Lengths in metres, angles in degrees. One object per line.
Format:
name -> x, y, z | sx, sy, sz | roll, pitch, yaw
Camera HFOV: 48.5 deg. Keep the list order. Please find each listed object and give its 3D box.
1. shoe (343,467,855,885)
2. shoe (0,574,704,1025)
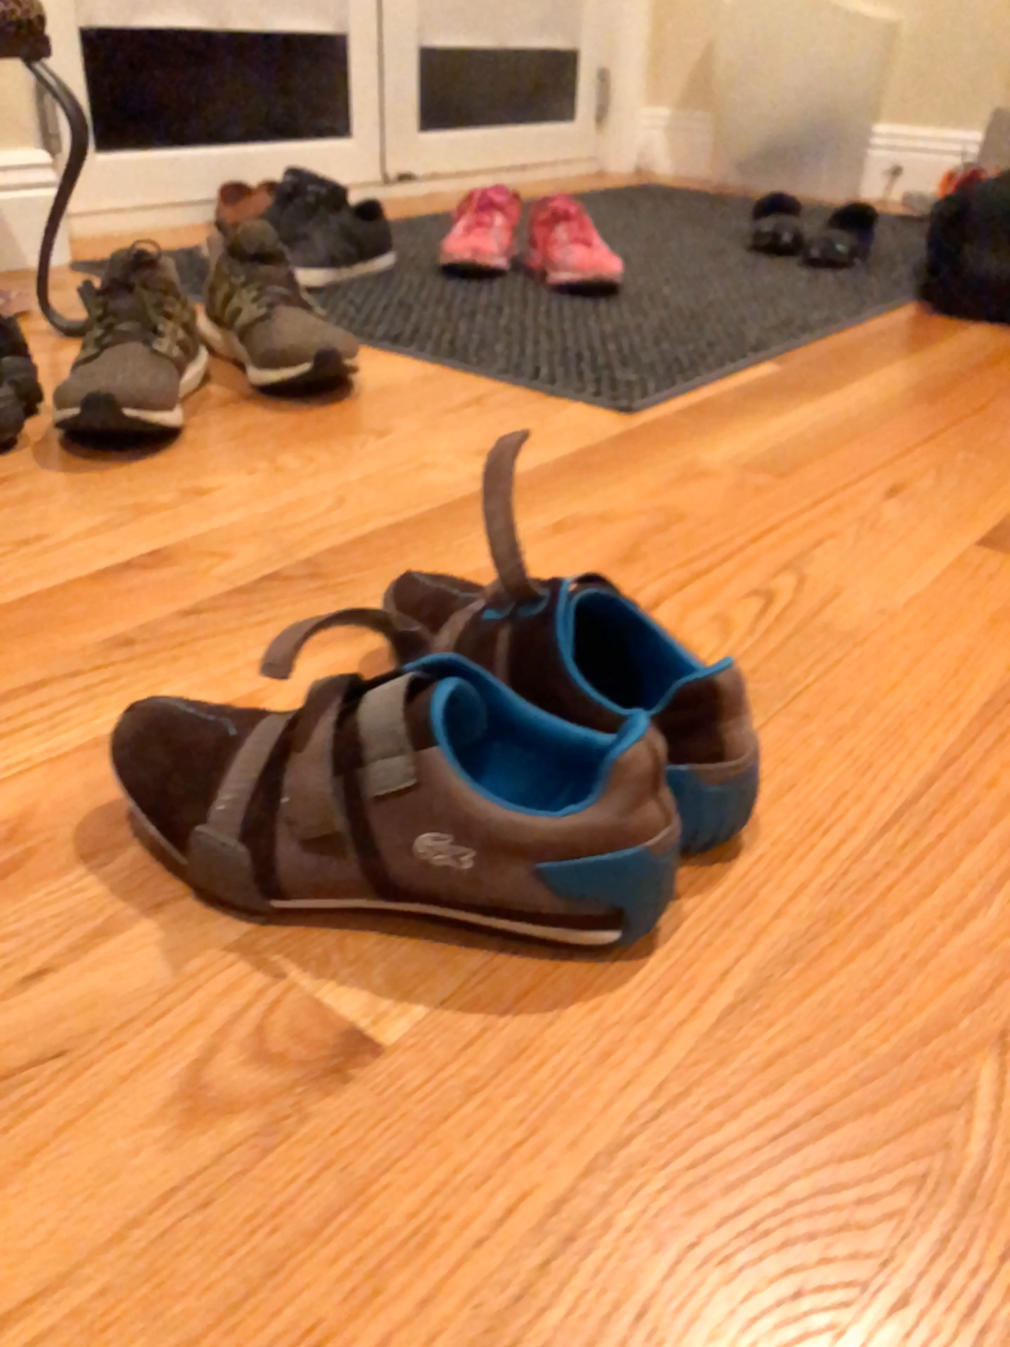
shoe -> 0.032, -0.016, 0.569 | 0.102, 0.091, 0.256 | -21, 37, -34
shoe -> -0.059, 0.041, 0.459 | 0.255, 0.091, 0.103 | 11, 31, 15
